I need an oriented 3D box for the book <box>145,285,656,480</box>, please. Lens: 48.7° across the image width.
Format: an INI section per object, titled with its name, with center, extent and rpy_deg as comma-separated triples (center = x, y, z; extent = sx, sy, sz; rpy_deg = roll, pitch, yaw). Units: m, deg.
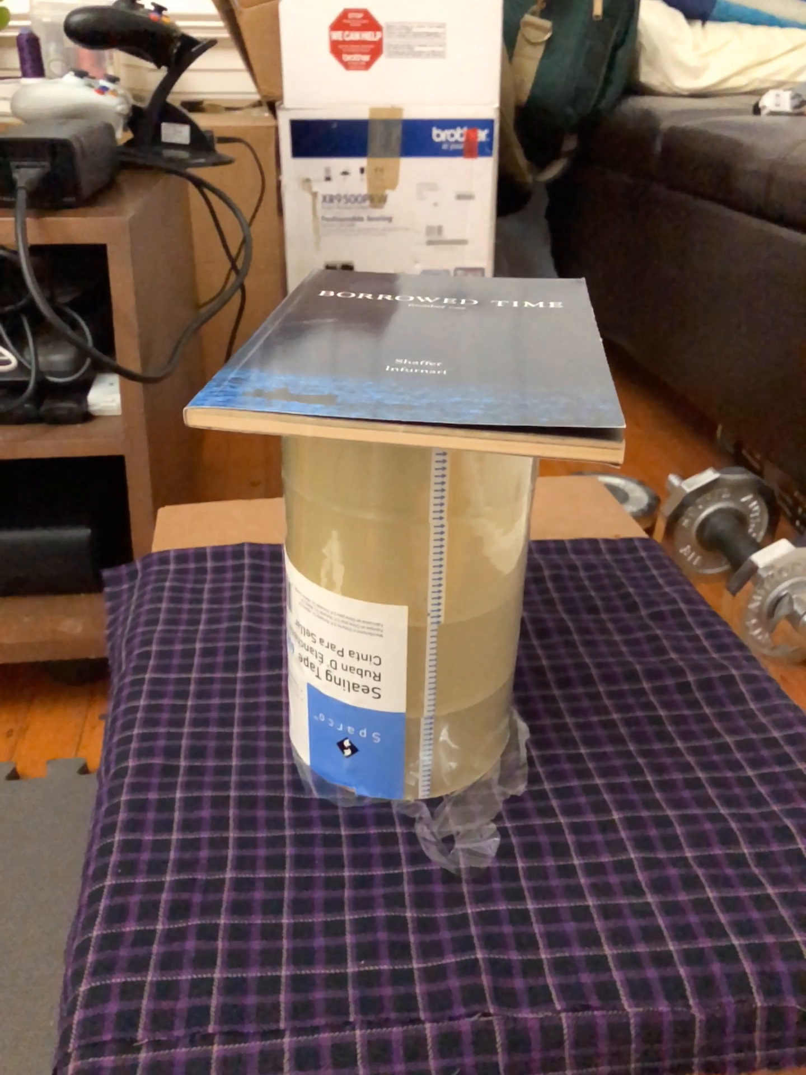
[book]
center = 0.010, -0.078, 0.382
extent = 0.160, 0.010, 0.231
rpy_deg = 4, 26, 5
